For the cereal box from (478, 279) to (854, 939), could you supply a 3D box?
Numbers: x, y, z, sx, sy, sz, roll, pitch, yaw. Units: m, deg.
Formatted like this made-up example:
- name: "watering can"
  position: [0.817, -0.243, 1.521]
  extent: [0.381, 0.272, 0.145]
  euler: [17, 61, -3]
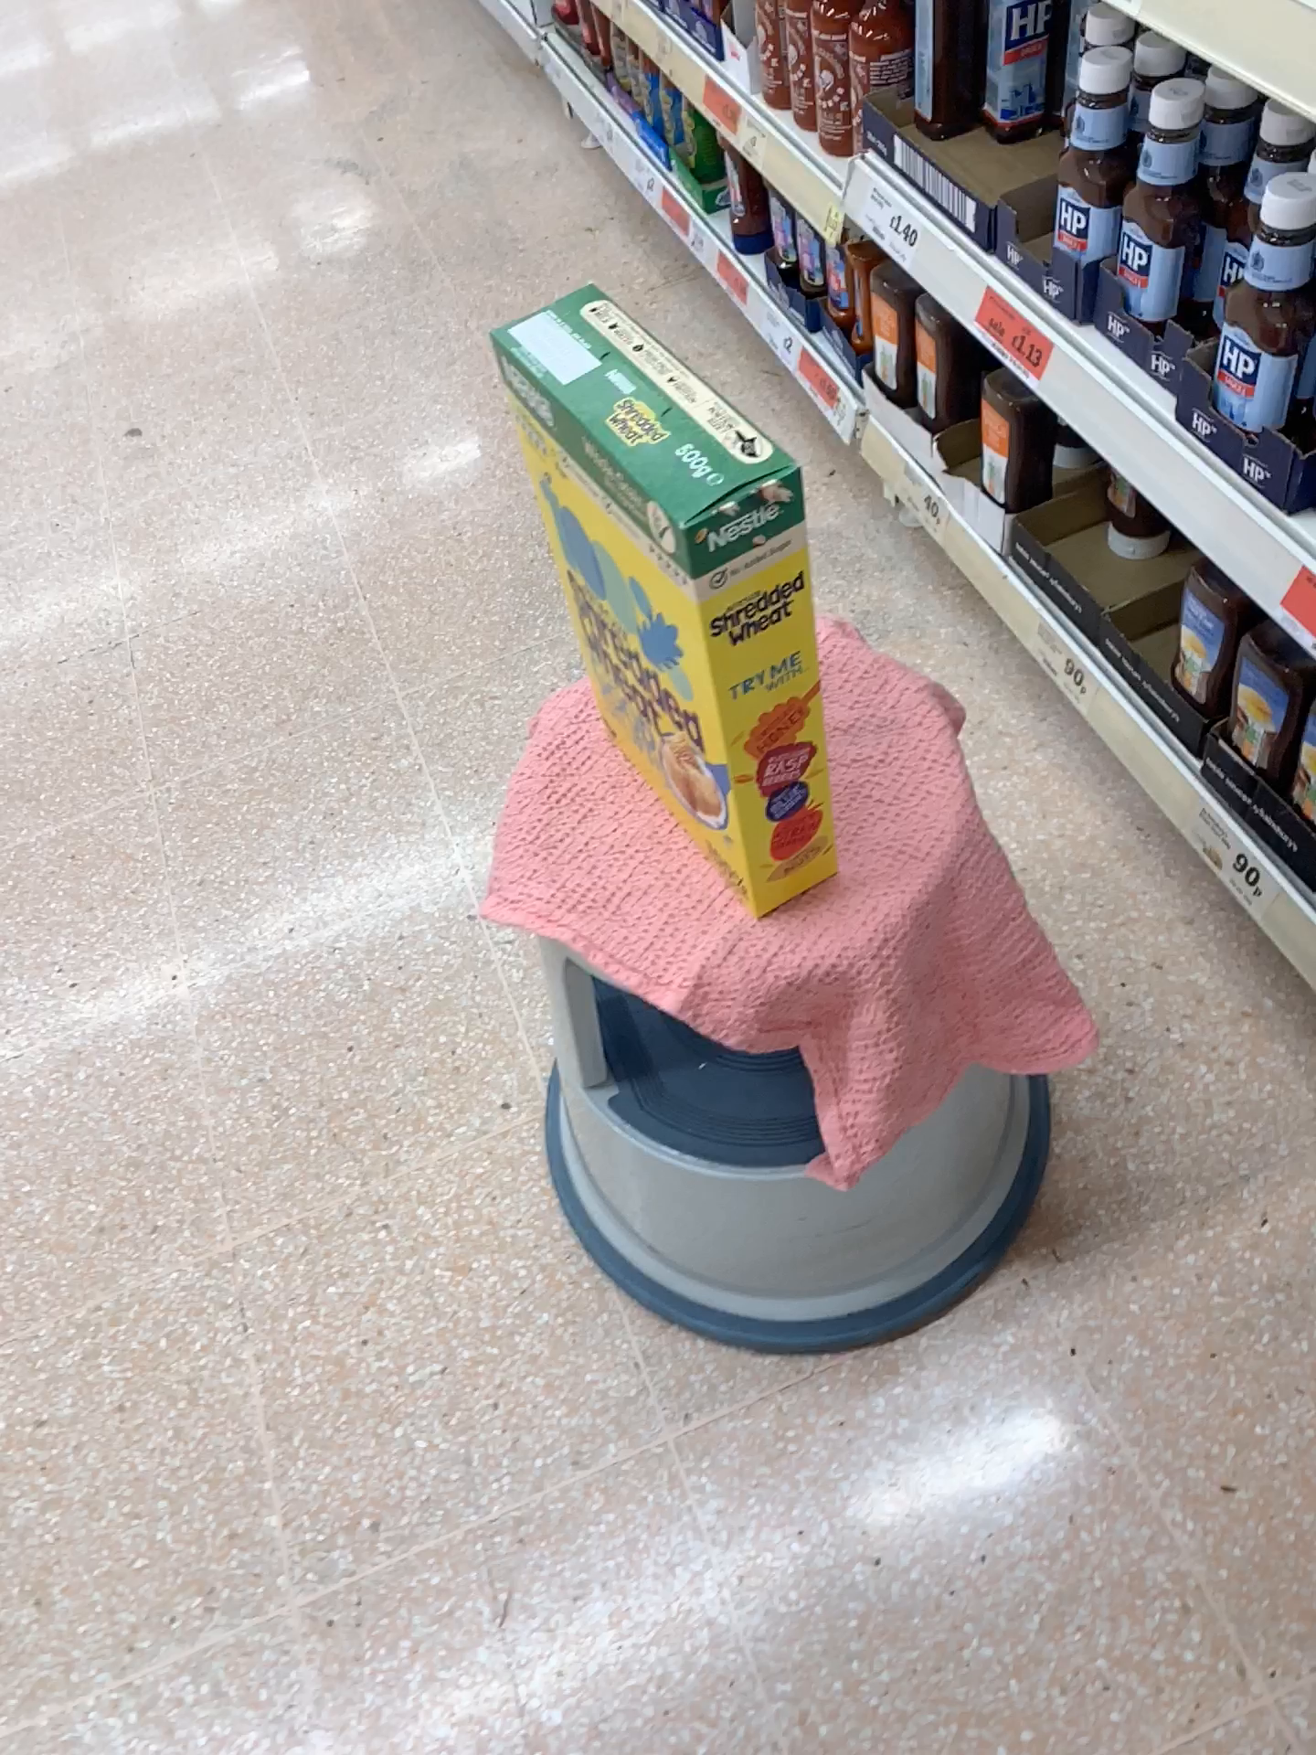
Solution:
- name: "cereal box"
  position: [0.011, -0.135, 0.720]
  extent: [0.070, 0.278, 0.212]
  euler: [-27, 52, -9]
